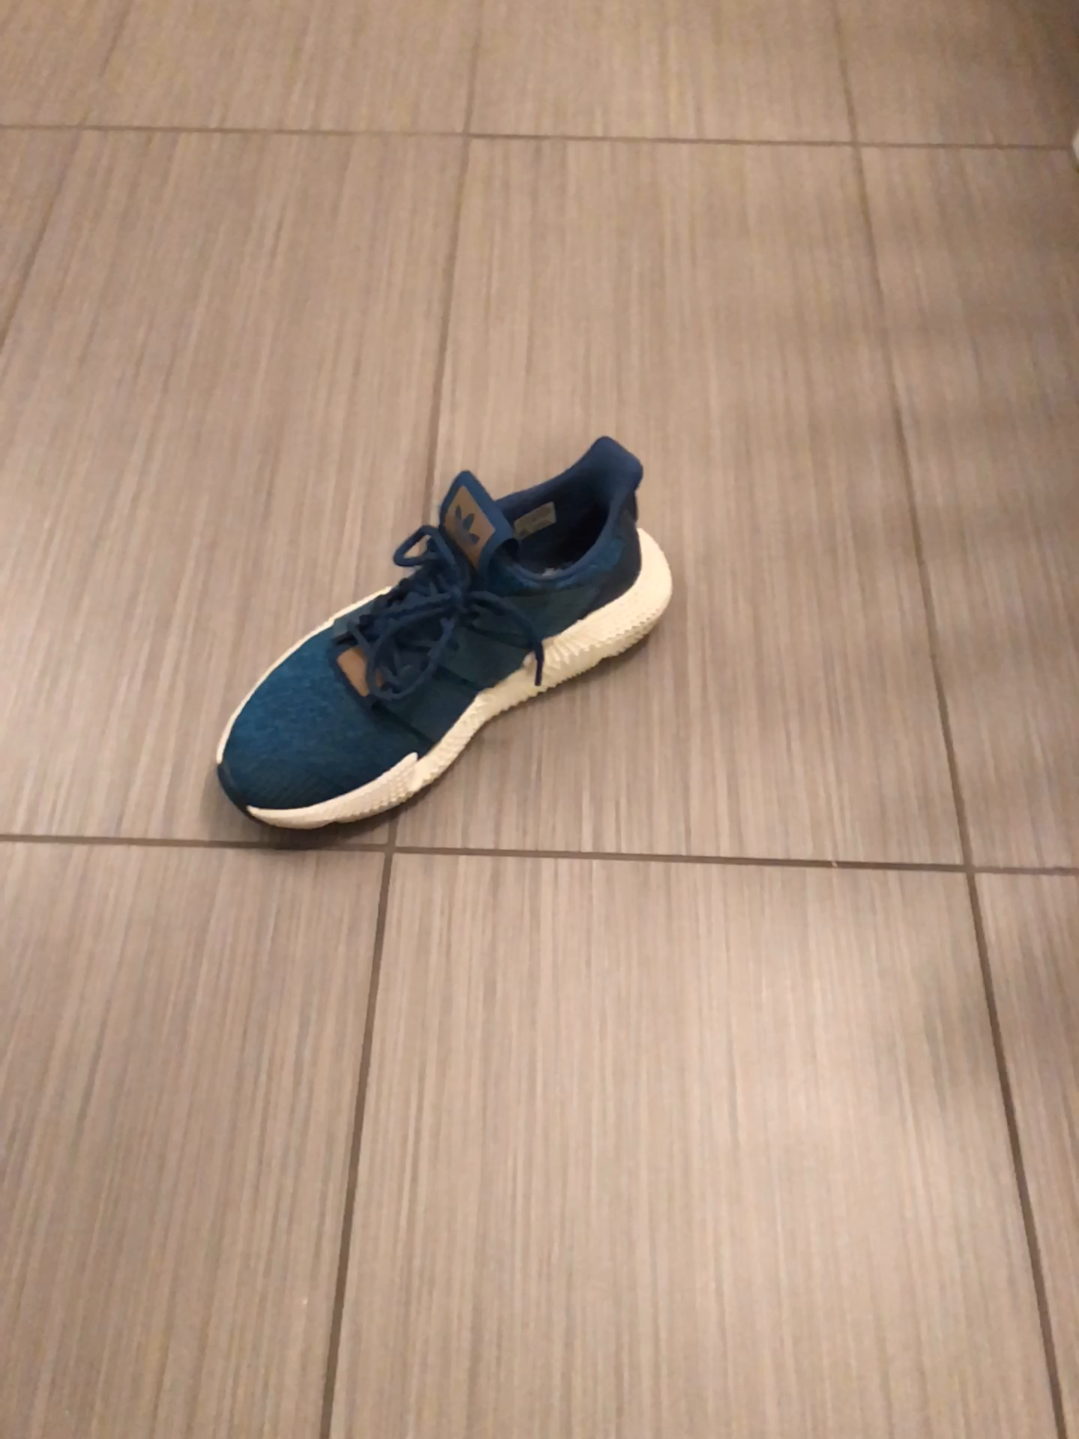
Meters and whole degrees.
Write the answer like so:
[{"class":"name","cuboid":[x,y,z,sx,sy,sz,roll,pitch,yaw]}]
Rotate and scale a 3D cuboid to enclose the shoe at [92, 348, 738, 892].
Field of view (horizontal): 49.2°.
[{"class":"shoe","cuboid":[-0.053,-0.055,0.608,0.291,0.120,0.112,-31,64,-17]}]
